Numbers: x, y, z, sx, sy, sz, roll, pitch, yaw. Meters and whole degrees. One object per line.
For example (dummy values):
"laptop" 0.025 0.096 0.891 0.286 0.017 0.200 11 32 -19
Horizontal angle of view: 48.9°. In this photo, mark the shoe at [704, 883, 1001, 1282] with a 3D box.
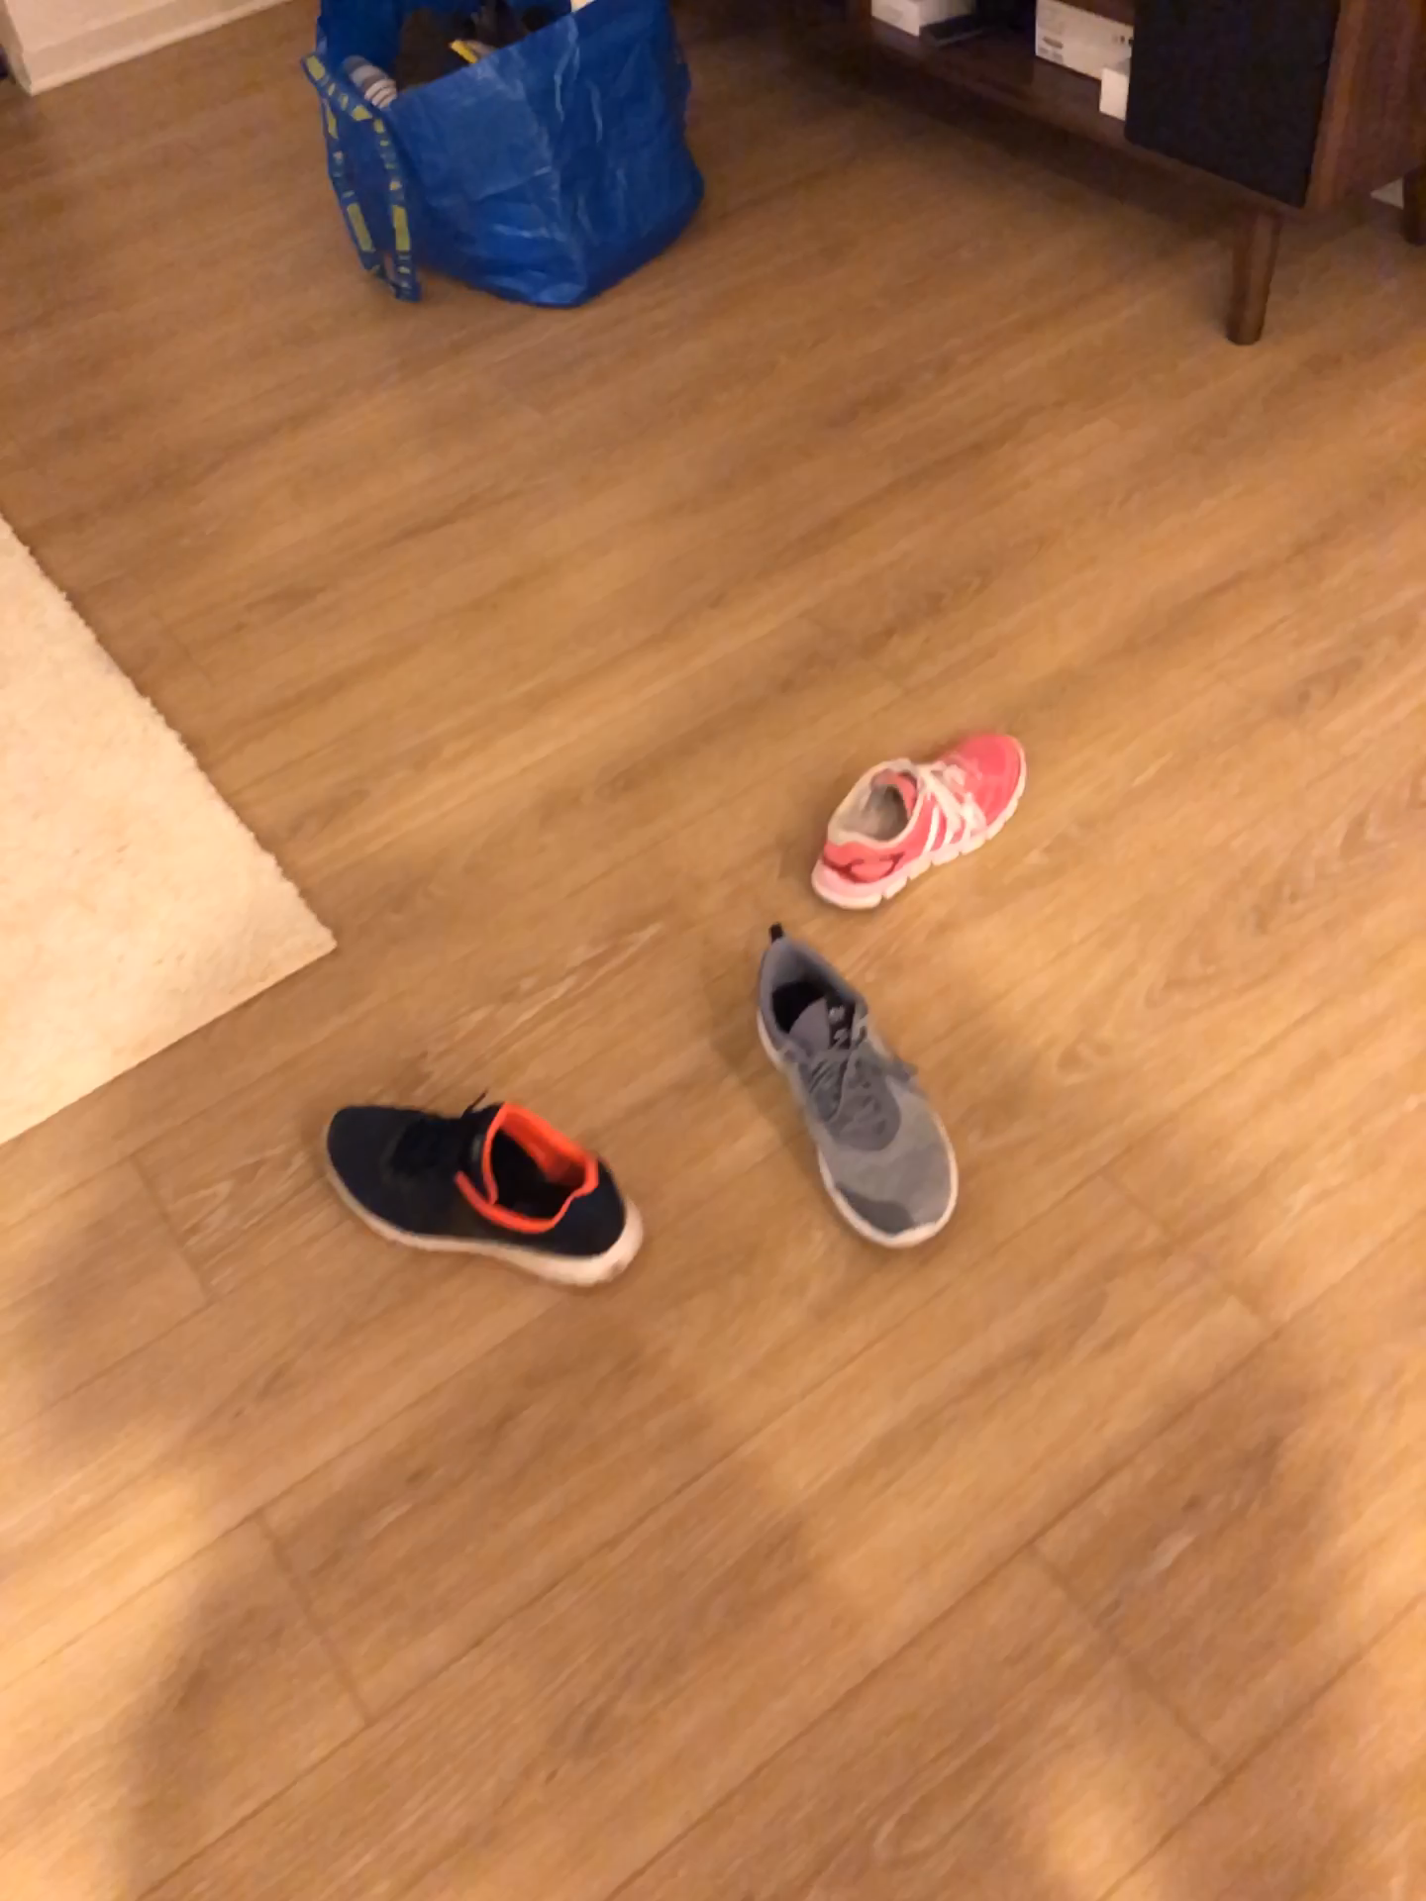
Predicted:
"shoe" 0.112 0.103 1.323 0.130 0.109 0.307 -20 50 -8

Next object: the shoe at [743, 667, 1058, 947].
"shoe" 0.186 -0.146 1.543 0.281 0.090 0.140 -34 54 -20

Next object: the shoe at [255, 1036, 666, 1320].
"shoe" -0.208 0.186 1.315 0.300 0.100 0.131 13 53 18
